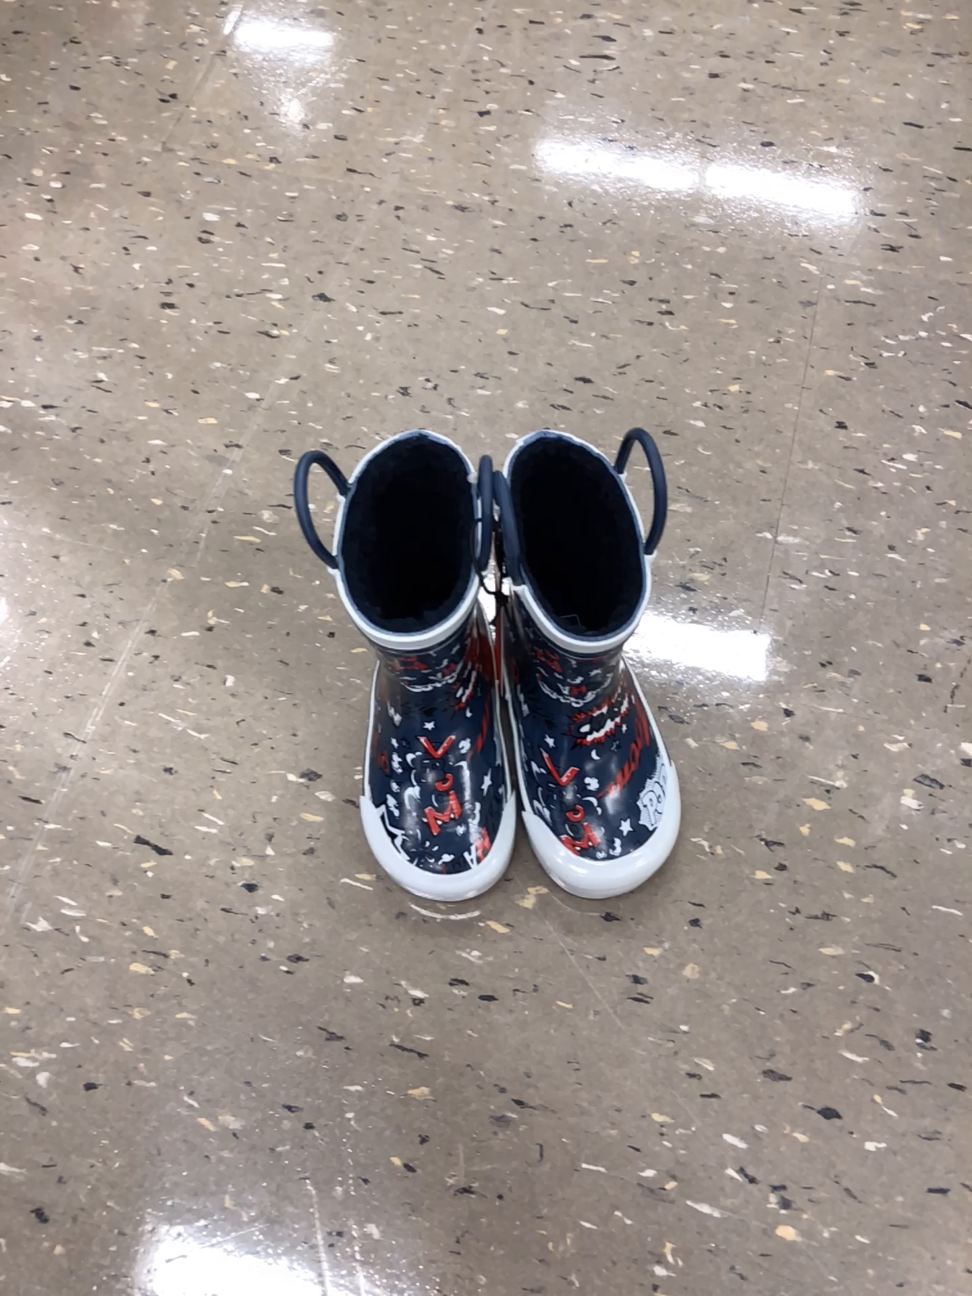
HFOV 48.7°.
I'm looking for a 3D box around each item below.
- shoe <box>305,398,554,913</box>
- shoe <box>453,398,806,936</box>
[{"bbox_3d":[-0.017,0.012,0.452,0.080,0.160,0.160,-2,63,1],"label":"shoe"},{"bbox_3d":[0.046,0.016,0.435,0.080,0.160,0.150,-12,63,-4],"label":"shoe"}]
